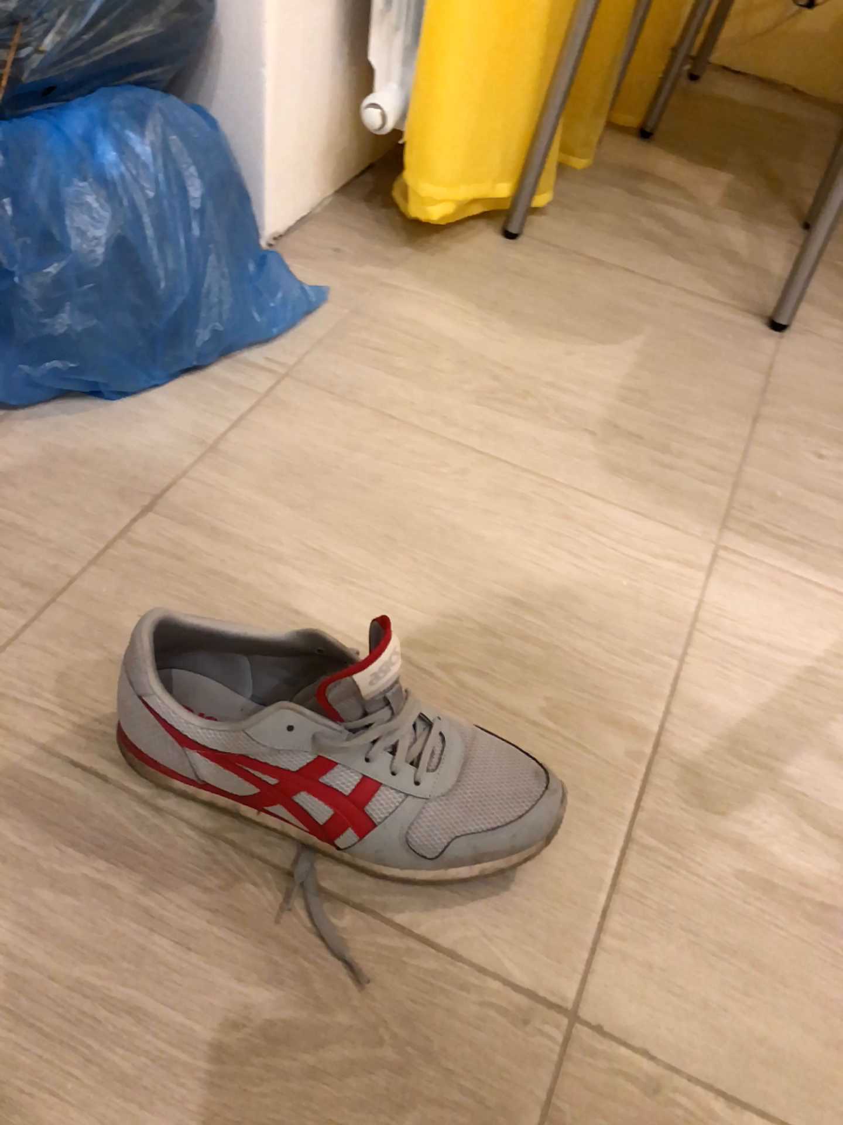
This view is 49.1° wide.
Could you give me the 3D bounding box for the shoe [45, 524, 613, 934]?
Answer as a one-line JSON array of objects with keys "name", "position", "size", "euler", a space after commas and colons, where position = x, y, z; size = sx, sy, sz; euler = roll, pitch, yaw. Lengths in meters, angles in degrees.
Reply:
[{"name": "shoe", "position": [-0.053, 0.100, 0.564], "size": [0.298, 0.129, 0.111], "euler": [17, 46, 5]}]
